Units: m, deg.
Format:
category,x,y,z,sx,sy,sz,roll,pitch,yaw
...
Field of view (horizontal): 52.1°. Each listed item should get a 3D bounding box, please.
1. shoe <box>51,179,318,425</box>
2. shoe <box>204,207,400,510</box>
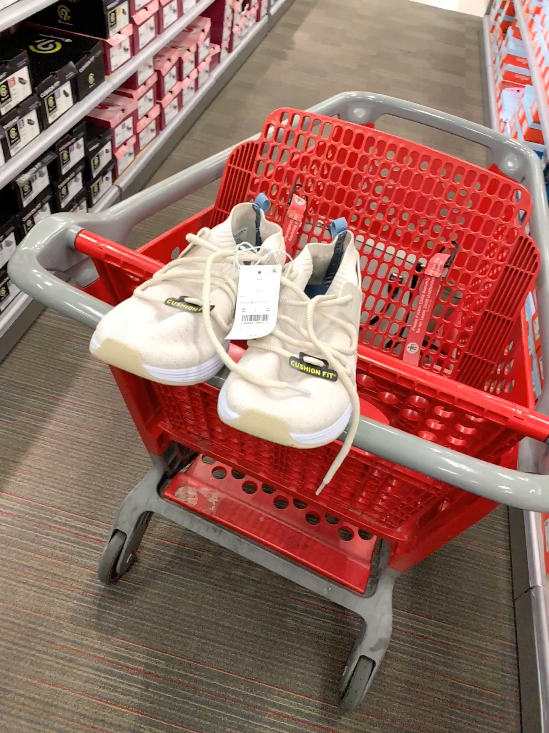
category,x,y,z,sx,sy,sz,roll,pitch,yaw
shoe,-0.065,-0.082,0.524,0.110,0.110,0.281,23,32,10
shoe,0.038,-0.031,0.491,0.110,0.110,0.281,15,34,3
